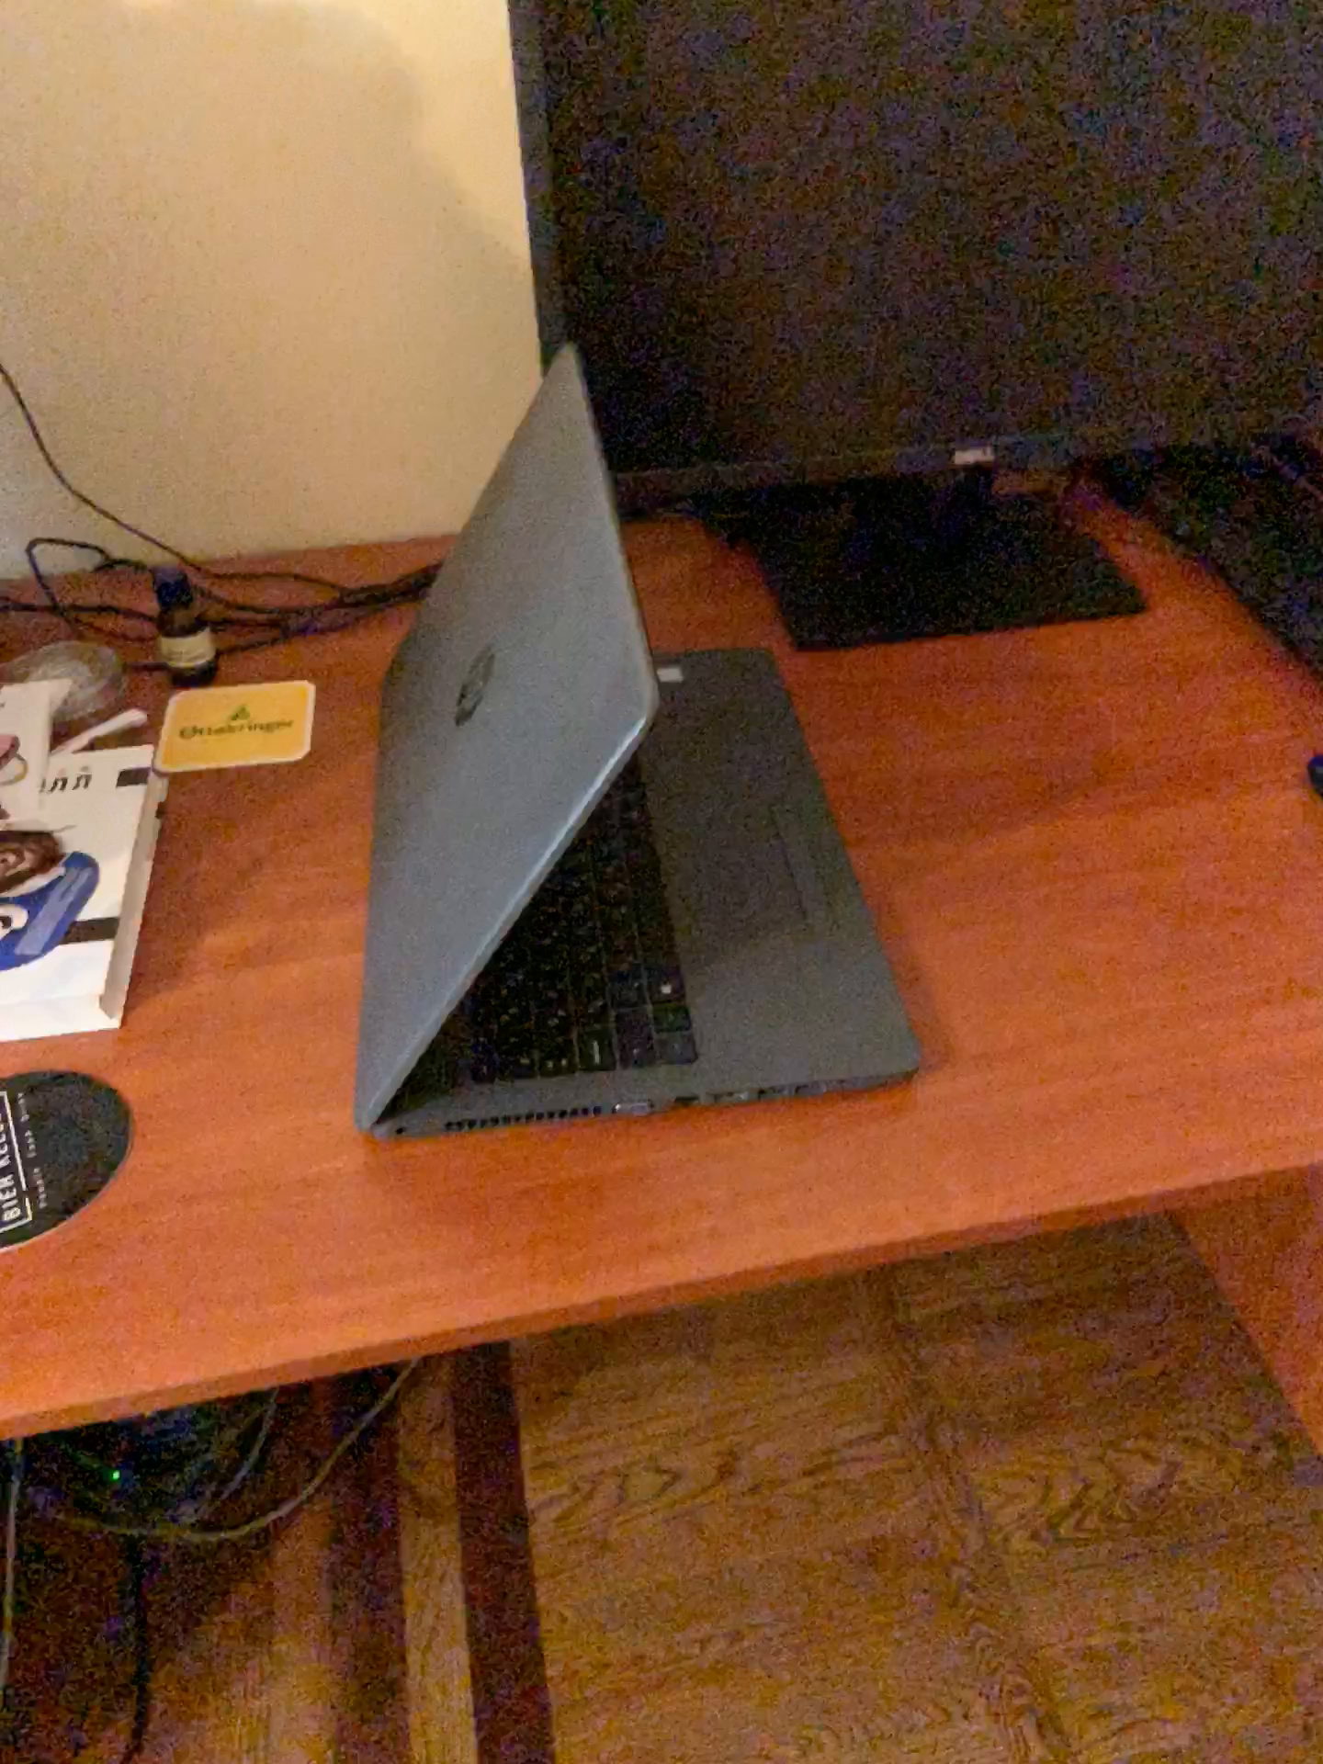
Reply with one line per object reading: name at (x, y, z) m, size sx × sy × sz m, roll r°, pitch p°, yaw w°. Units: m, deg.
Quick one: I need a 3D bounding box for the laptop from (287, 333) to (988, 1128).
laptop at (-0.027, -0.103, 0.683) m, size 0.248 × 0.207 × 0.377 m, roll -5°, pitch 40°, yaw -5°
